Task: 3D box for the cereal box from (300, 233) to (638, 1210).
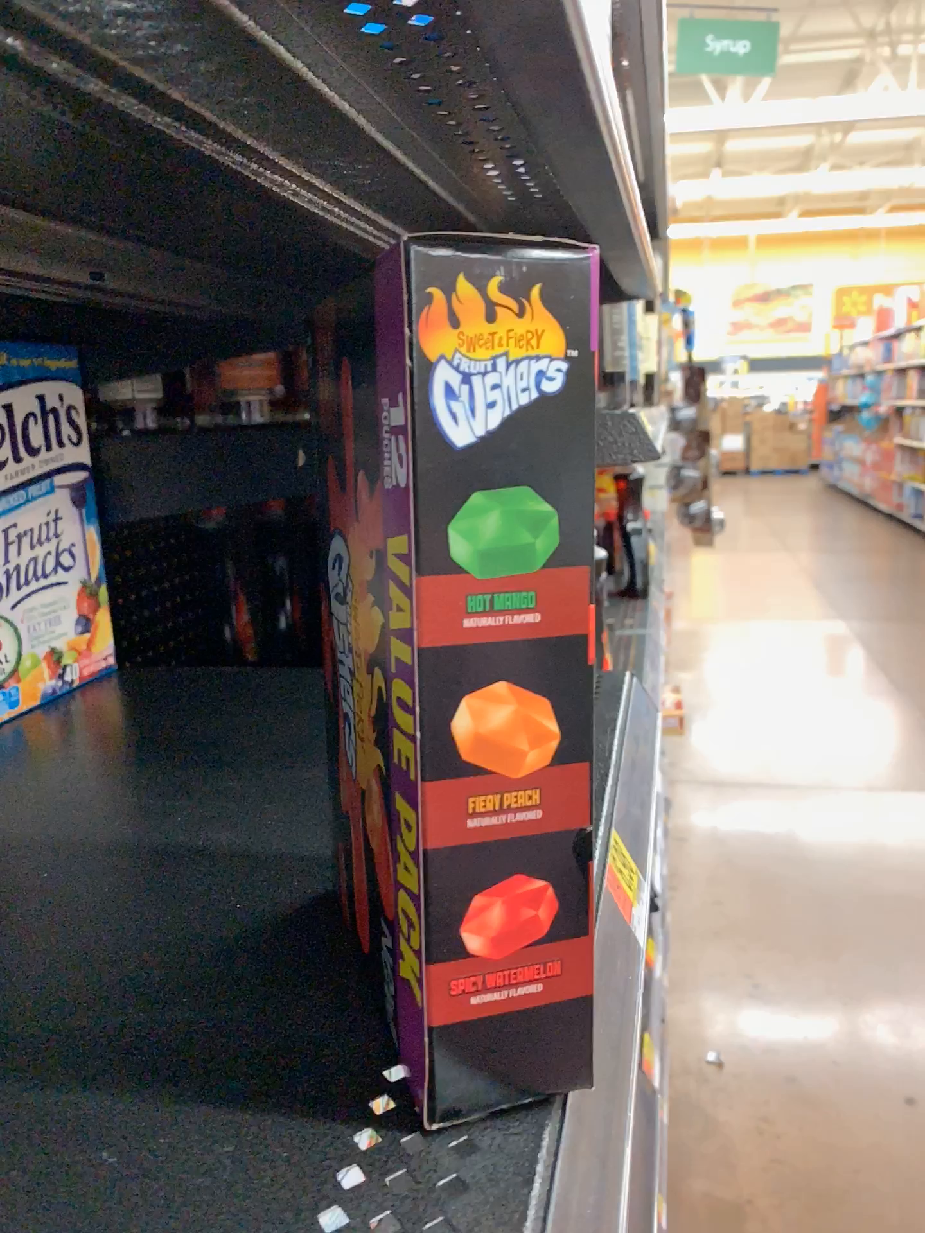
[{"bbox_3d":[-0.009,0.018,0.285,0.050,0.219,0.150,-3,11,-17],"label":"cereal box"}]
